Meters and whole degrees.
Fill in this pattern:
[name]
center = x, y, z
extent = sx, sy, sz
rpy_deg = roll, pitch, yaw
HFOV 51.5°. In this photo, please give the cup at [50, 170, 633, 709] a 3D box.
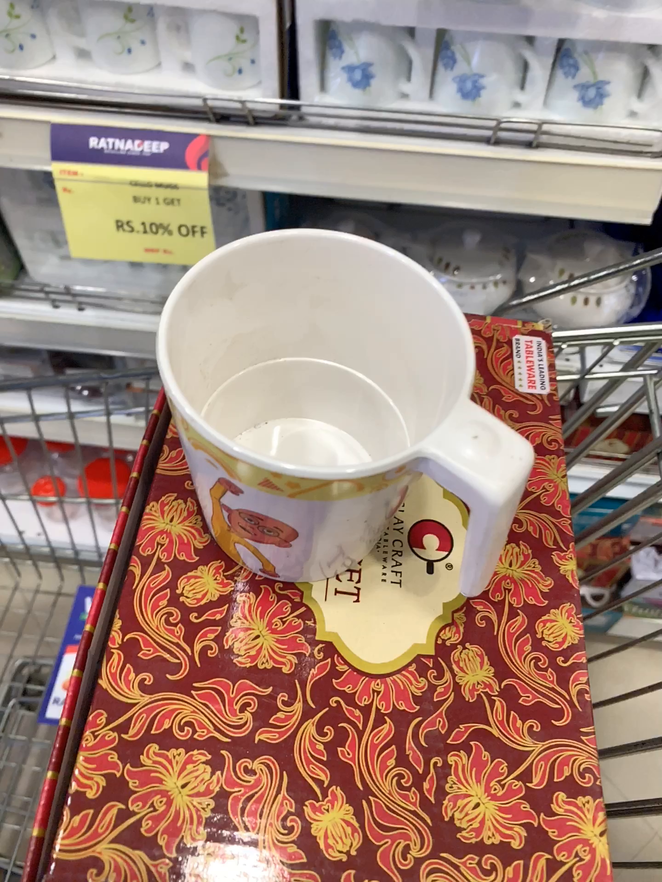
[cup]
center = 0.002, 0.000, 0.193
extent = 0.110, 0.080, 0.080
rpy_deg = 31, 61, 15
